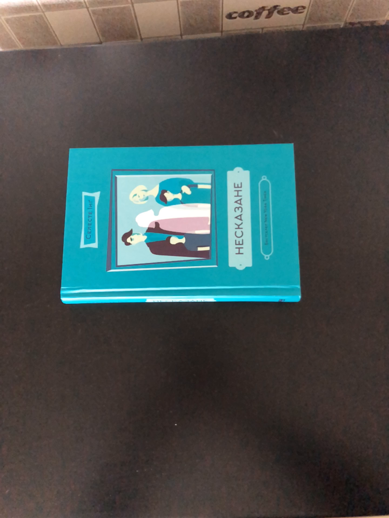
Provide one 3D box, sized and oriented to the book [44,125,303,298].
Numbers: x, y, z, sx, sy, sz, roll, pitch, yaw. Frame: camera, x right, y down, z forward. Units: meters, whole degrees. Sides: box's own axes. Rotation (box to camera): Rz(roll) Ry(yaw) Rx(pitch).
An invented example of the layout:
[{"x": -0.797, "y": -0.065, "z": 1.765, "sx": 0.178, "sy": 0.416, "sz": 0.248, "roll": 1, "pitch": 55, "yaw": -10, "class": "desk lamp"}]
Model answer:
[{"x": -0.018, "y": -0.042, "z": 0.392, "sx": 0.220, "sy": 0.030, "sz": 0.151, "roll": -1, "pitch": 79, "yaw": 3, "class": "book"}]
